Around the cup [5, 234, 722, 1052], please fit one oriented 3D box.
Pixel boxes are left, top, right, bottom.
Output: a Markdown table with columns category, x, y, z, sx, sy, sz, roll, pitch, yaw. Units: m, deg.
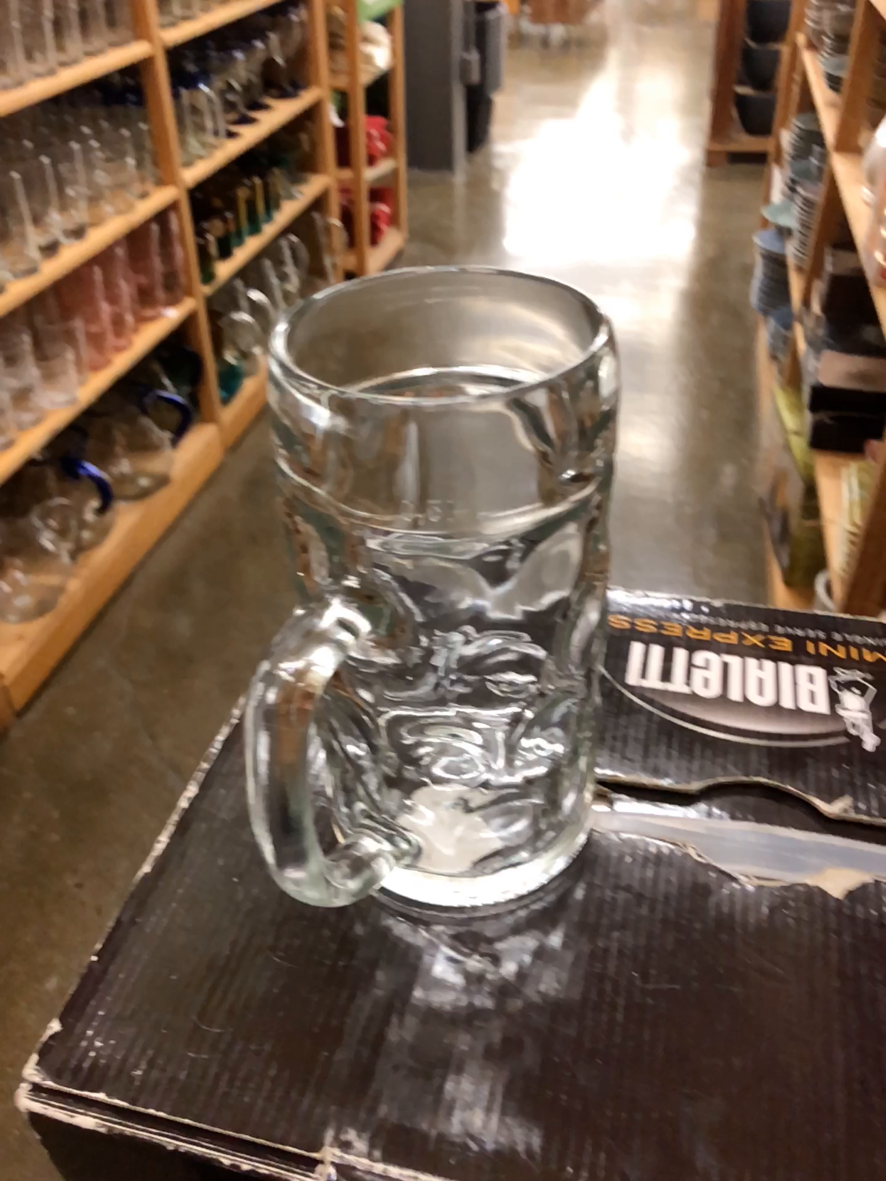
| category | x | y | z | sx | sy | sz | roll | pitch | yaw |
| --- | --- | --- | --- | --- | --- | --- | --- | --- | --- |
| cup | -0.005 | 0.004 | 0.249 | 0.100 | 0.136 | 0.129 | 16 | 41 | 22 |
